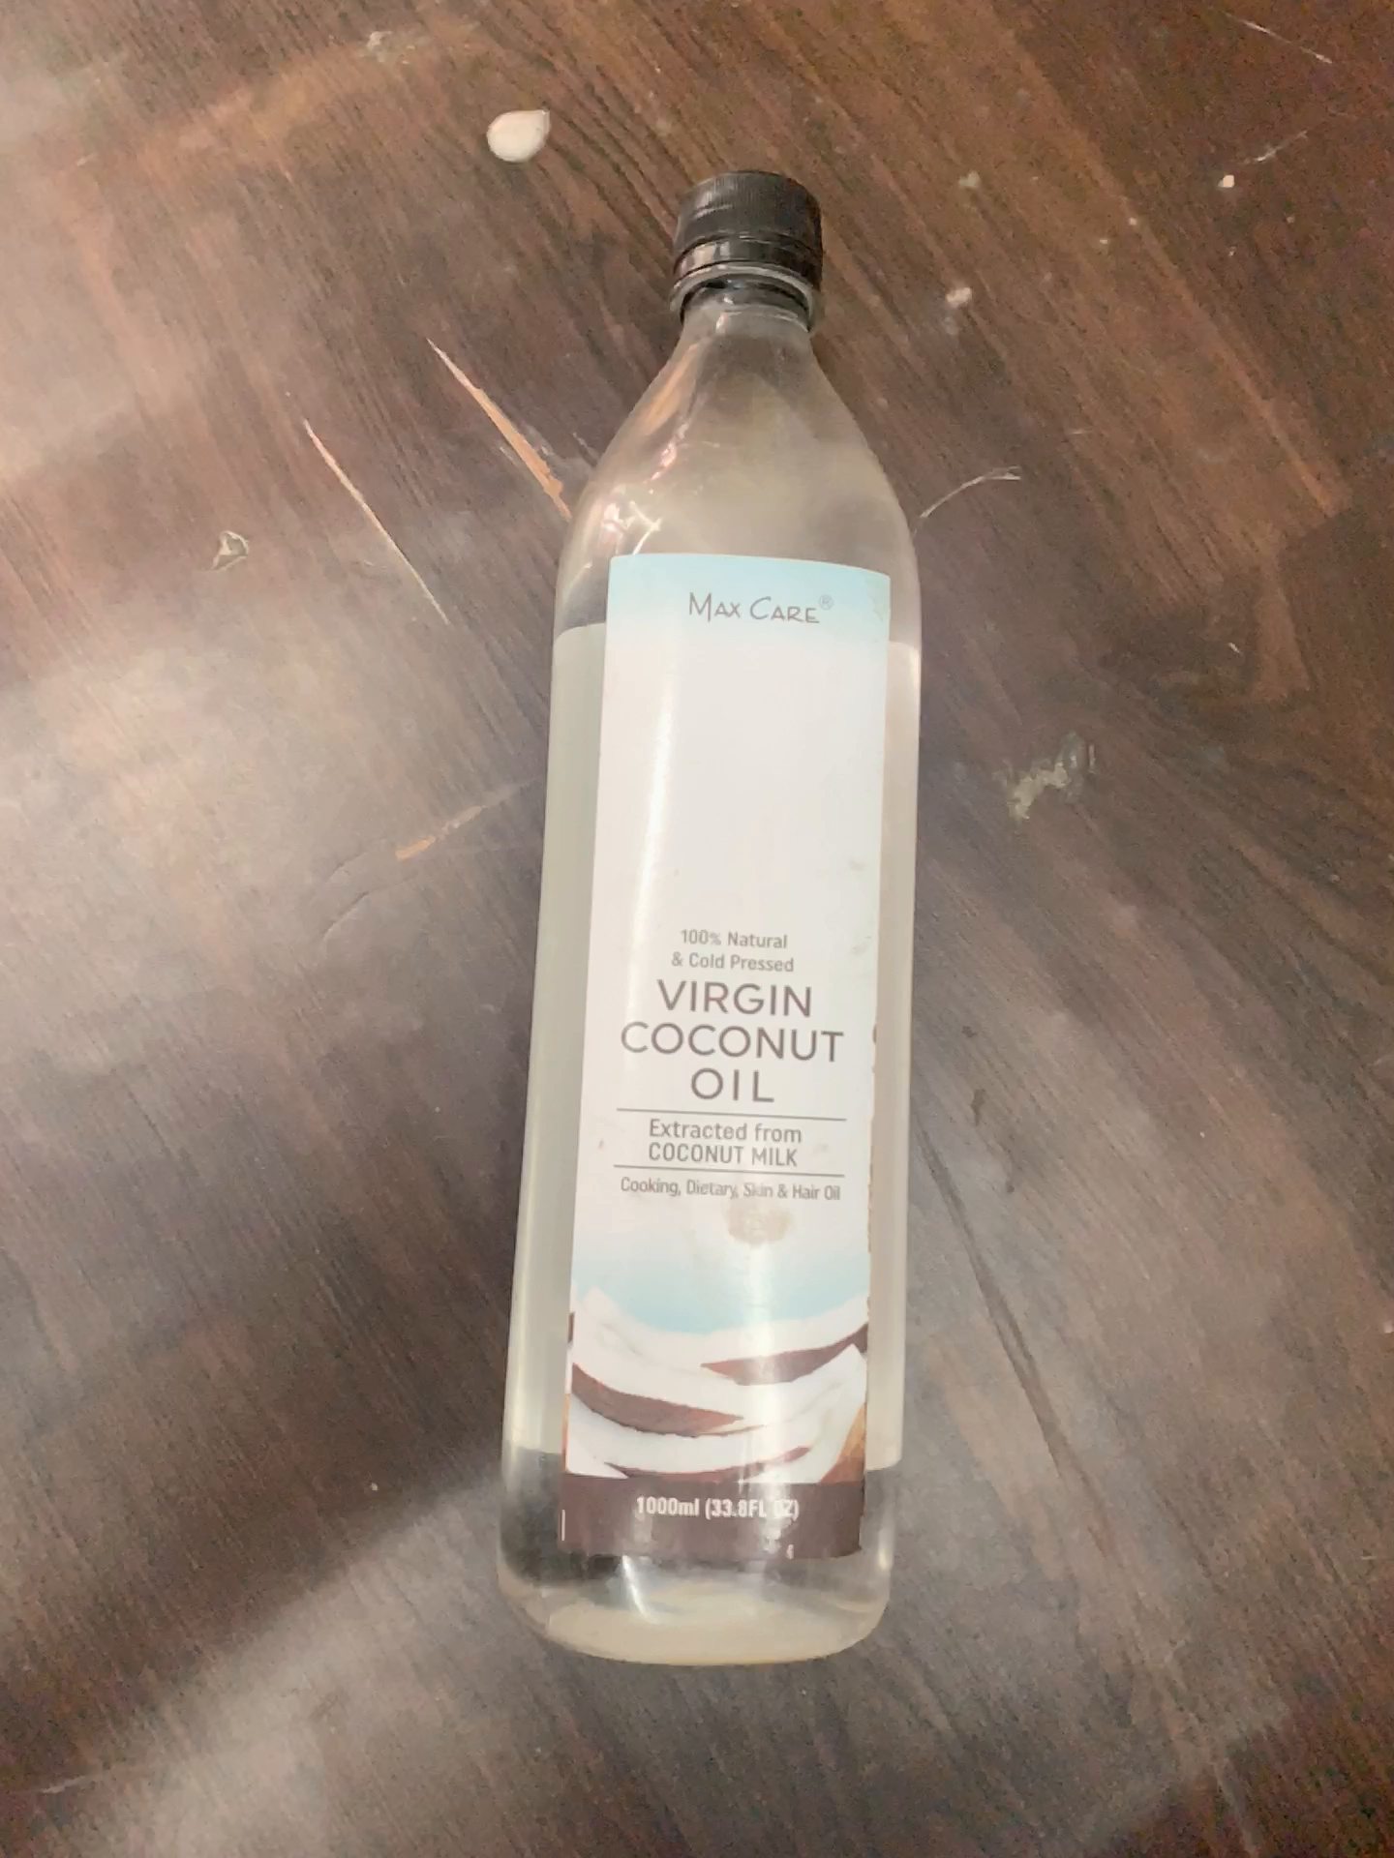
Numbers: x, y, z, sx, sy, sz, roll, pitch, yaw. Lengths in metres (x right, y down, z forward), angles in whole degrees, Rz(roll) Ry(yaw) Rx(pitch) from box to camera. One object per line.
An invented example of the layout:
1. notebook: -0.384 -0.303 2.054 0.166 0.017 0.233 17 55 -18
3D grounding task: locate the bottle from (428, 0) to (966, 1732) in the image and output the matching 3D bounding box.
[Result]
1. bottle: 0.001 -0.016 0.273 0.080 0.070 0.290 2 84 -4
